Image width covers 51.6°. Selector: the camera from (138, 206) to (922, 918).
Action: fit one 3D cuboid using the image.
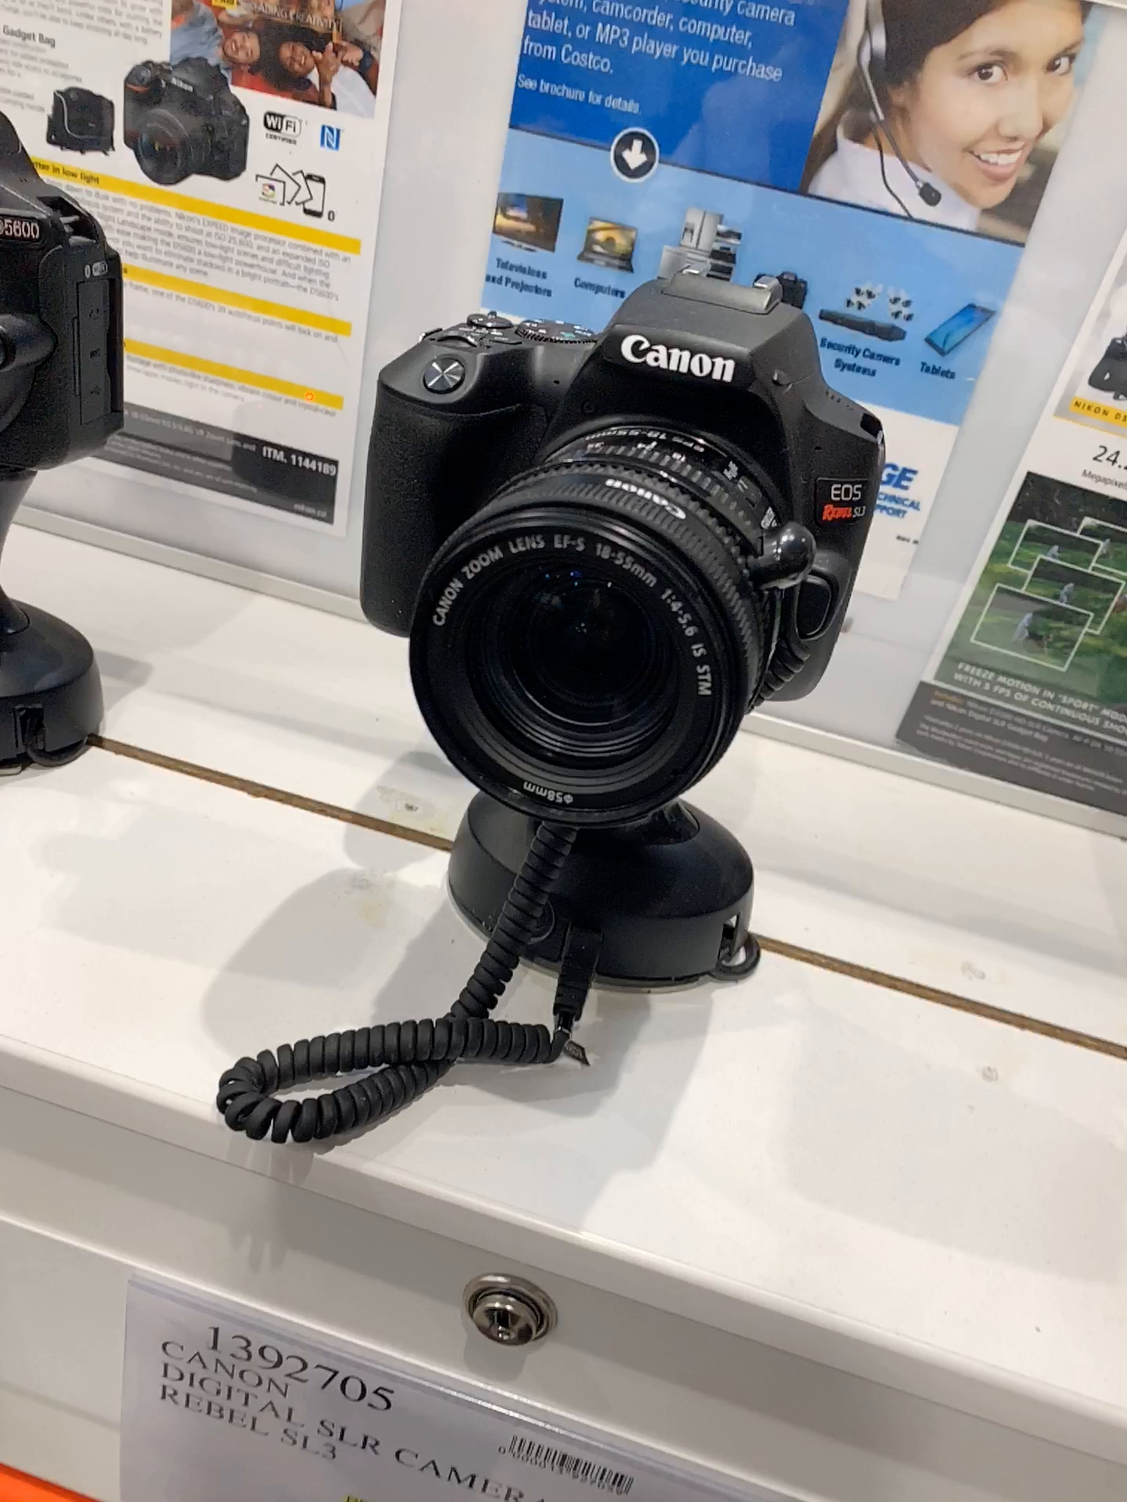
[{"bbox_3d":[-0.001,-0.049,0.240,0.120,0.089,0.111,14,30,8],"label":"camera"}]
